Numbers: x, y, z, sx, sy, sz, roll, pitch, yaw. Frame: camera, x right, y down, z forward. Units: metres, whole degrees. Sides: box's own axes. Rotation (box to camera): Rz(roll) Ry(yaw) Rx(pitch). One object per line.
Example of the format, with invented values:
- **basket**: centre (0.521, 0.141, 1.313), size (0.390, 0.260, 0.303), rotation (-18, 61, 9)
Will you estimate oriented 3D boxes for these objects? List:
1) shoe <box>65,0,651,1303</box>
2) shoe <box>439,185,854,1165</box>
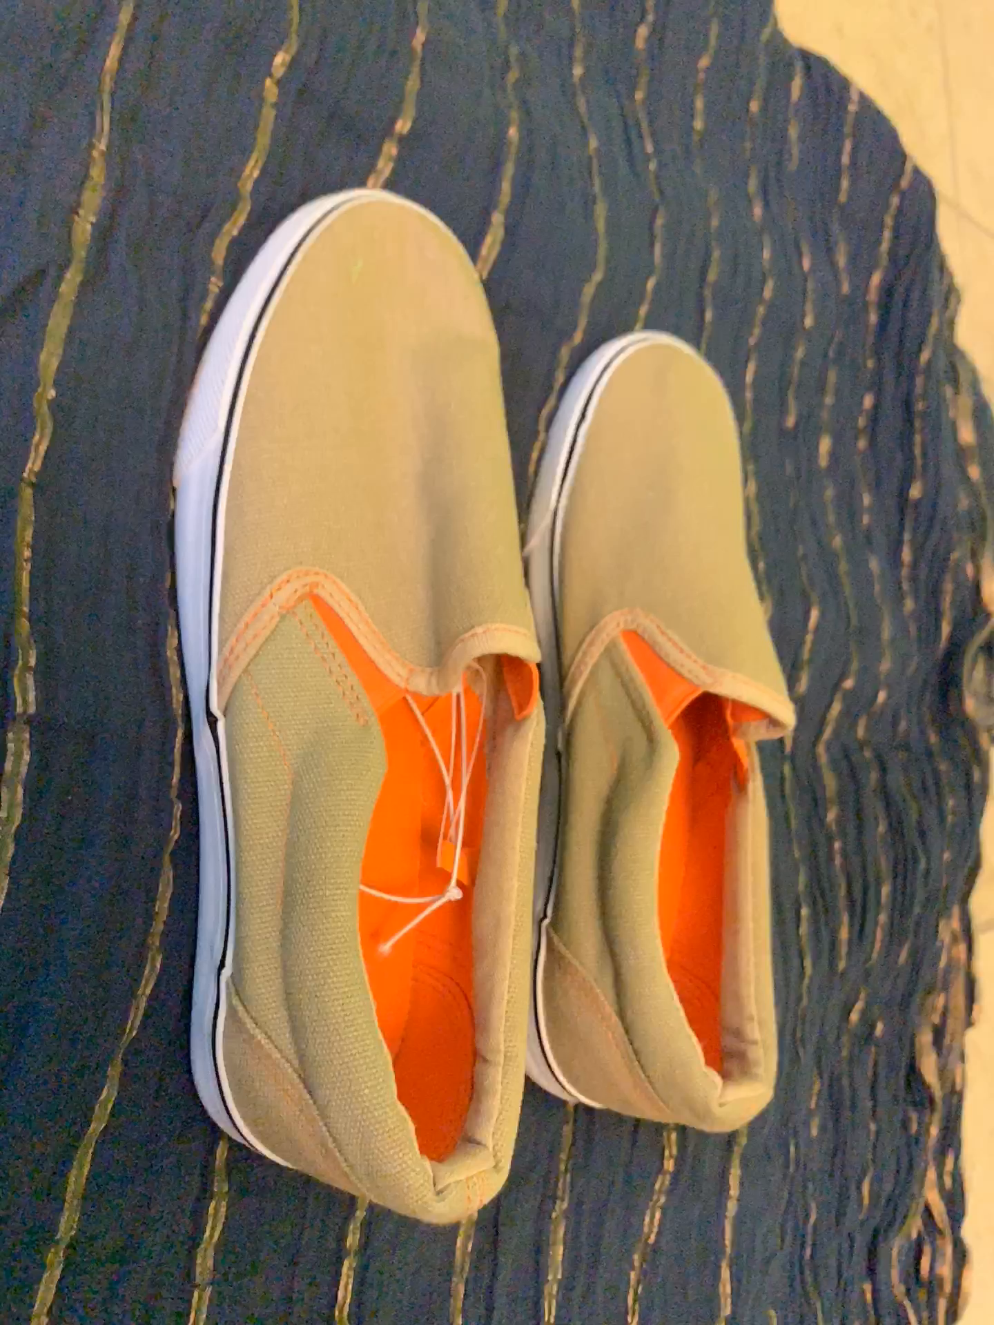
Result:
- **shoe**: centre (-0.026, -0.010, 0.258), size (0.096, 0.080, 0.262), rotation (13, 75, -42)
- **shoe**: centre (0.054, 0.003, 0.342), size (0.100, 0.080, 0.271), rotation (14, 74, -42)
